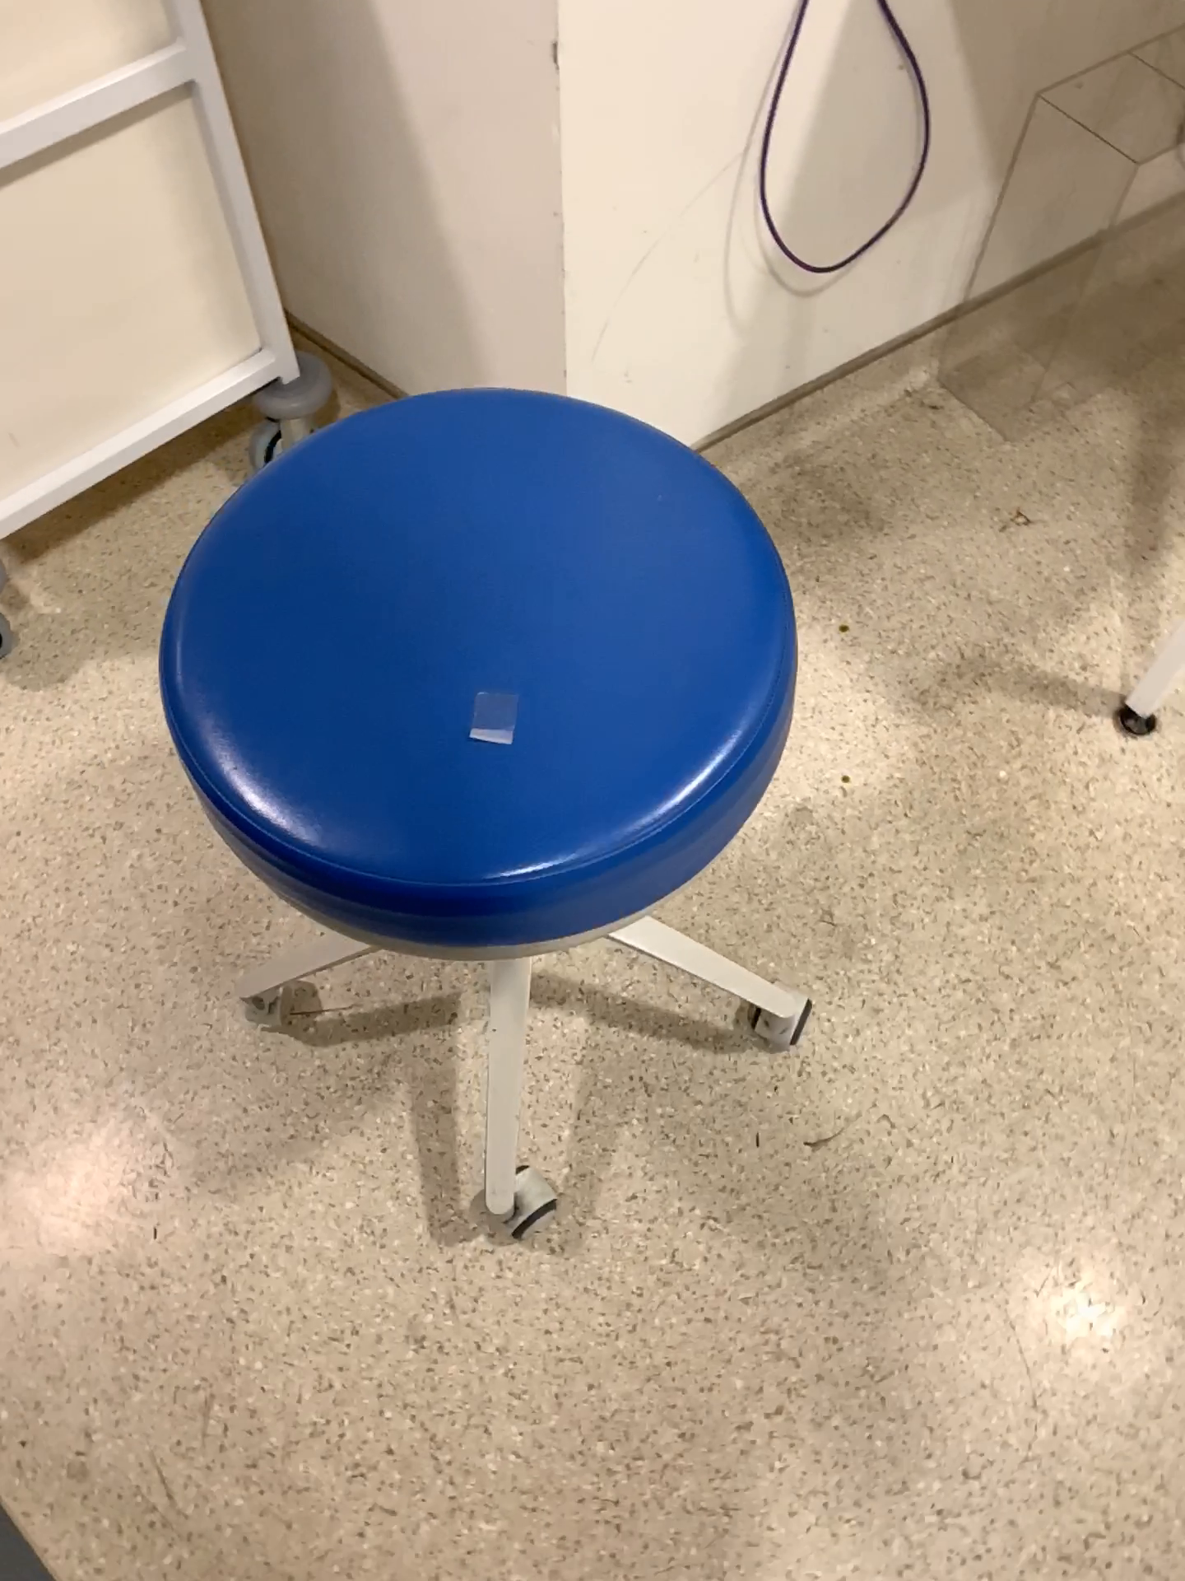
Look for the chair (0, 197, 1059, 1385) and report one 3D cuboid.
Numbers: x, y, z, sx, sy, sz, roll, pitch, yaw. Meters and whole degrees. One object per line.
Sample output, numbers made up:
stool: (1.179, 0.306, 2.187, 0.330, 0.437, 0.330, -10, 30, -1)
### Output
chair: (-0.090, 0.036, 1.024, 0.571, 0.636, 0.583, 29, 64, 16)
